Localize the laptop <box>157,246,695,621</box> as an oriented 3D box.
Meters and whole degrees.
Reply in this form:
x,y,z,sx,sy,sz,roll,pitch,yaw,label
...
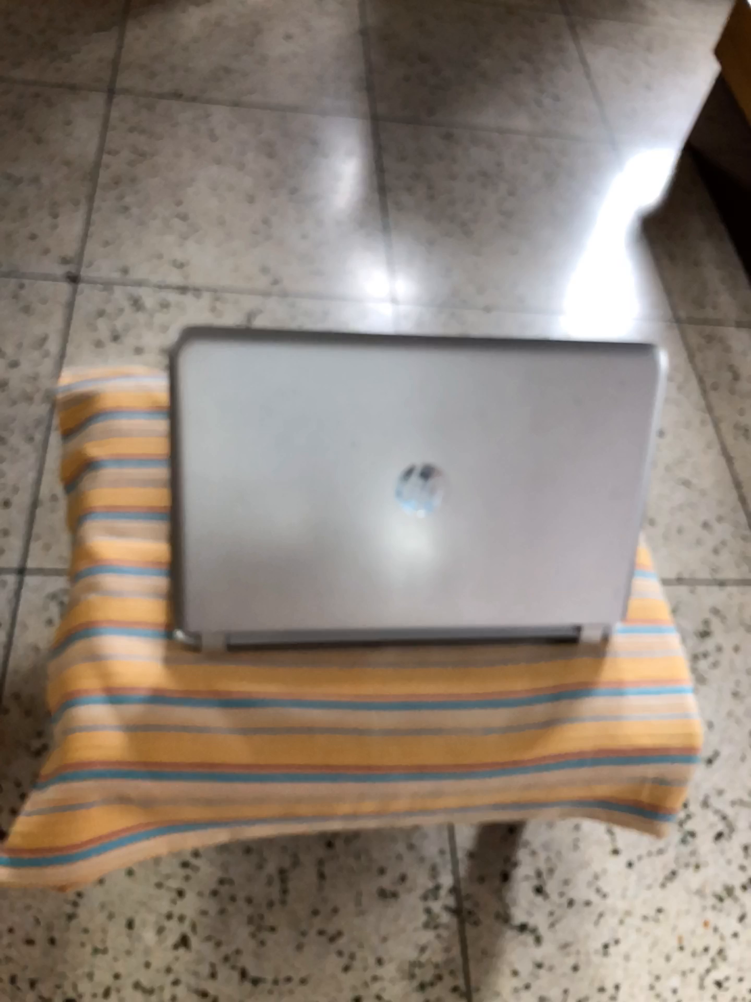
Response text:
x,y,z,sx,sy,sz,roll,pitch,yaw,label
0.020,-0.051,0.712,0.371,0.184,0.237,0,56,-10,laptop
